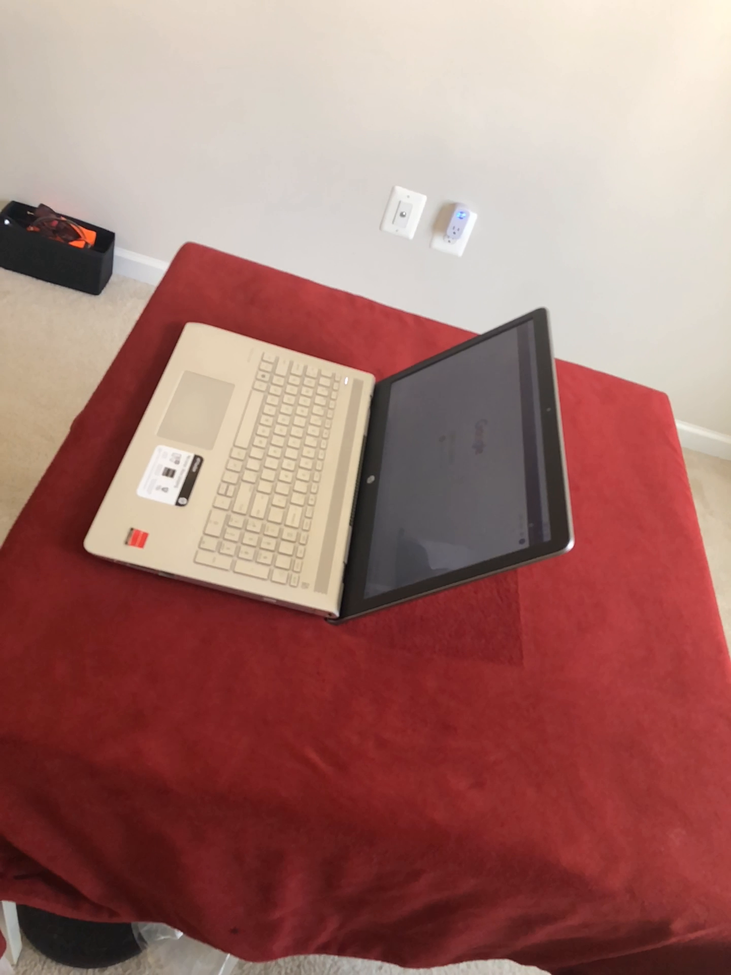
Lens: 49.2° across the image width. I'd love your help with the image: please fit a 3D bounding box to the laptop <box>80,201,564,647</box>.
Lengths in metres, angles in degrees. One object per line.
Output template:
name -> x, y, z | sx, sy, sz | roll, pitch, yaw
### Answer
laptop -> -0.028, -0.079, 0.817 | 0.395, 0.158, 0.362 | 15, 45, -6
